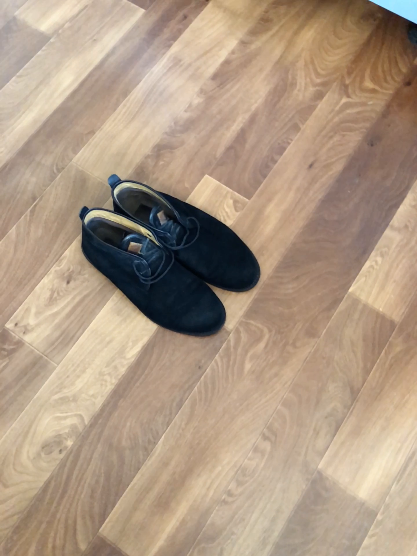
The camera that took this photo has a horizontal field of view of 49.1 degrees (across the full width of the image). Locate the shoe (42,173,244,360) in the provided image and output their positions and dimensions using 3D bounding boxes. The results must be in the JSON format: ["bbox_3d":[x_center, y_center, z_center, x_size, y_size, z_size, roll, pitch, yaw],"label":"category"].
[{"bbox_3d":[-0.099,-0.013,0.723,0.290,0.130,0.110,38,76,10],"label":"shoe"}]

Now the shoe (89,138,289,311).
[{"bbox_3d":[-0.032,-0.084,0.754,0.290,0.130,0.110,33,75,9],"label":"shoe"}]
